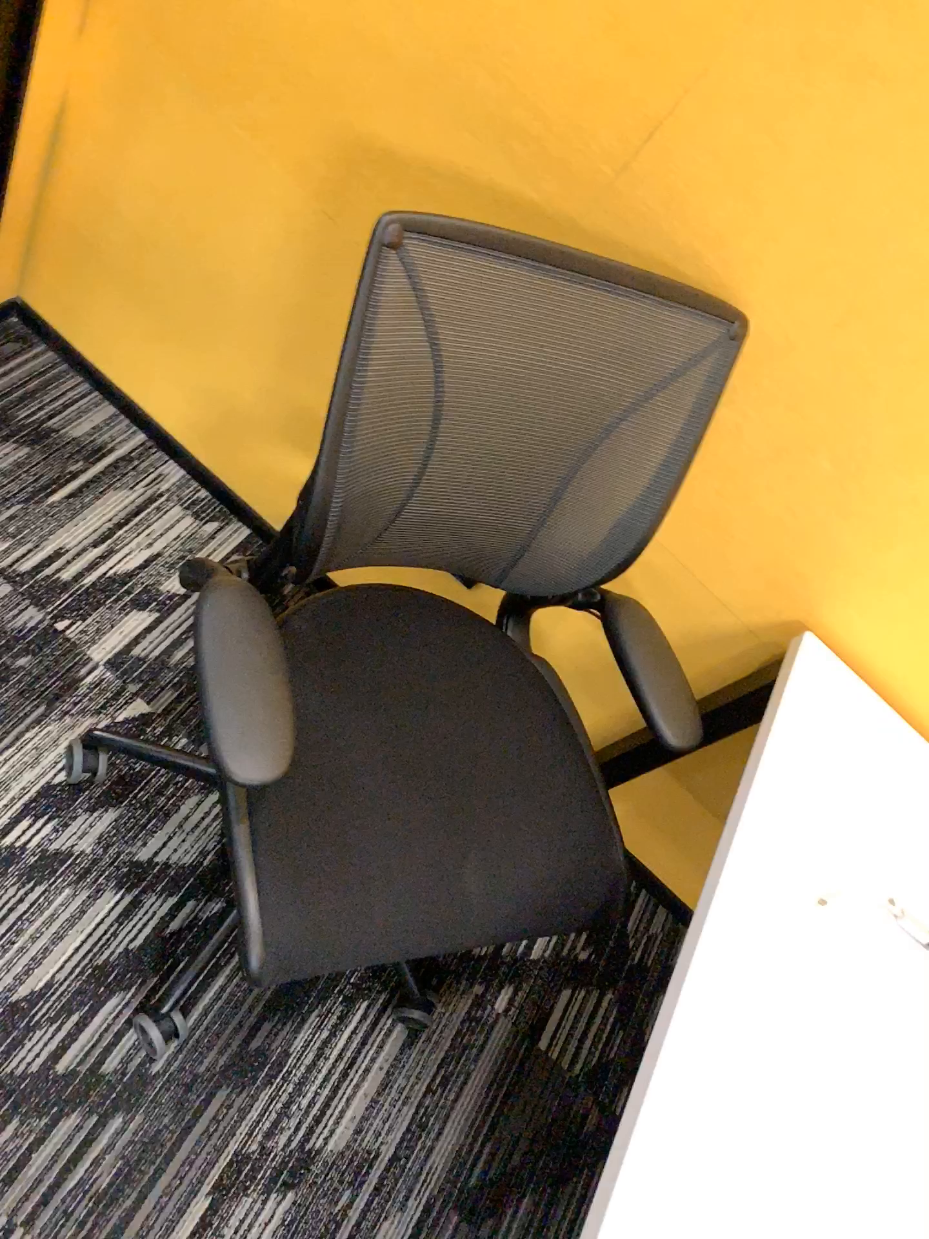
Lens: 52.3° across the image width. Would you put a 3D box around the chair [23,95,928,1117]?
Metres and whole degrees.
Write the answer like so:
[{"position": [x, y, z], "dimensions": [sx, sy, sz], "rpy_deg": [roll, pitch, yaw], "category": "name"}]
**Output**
[{"position": [-0.059, 0.096, 0.954], "dimensions": [0.542, 0.815, 0.571], "rpy_deg": [-2, 66, -34], "category": "chair"}]
